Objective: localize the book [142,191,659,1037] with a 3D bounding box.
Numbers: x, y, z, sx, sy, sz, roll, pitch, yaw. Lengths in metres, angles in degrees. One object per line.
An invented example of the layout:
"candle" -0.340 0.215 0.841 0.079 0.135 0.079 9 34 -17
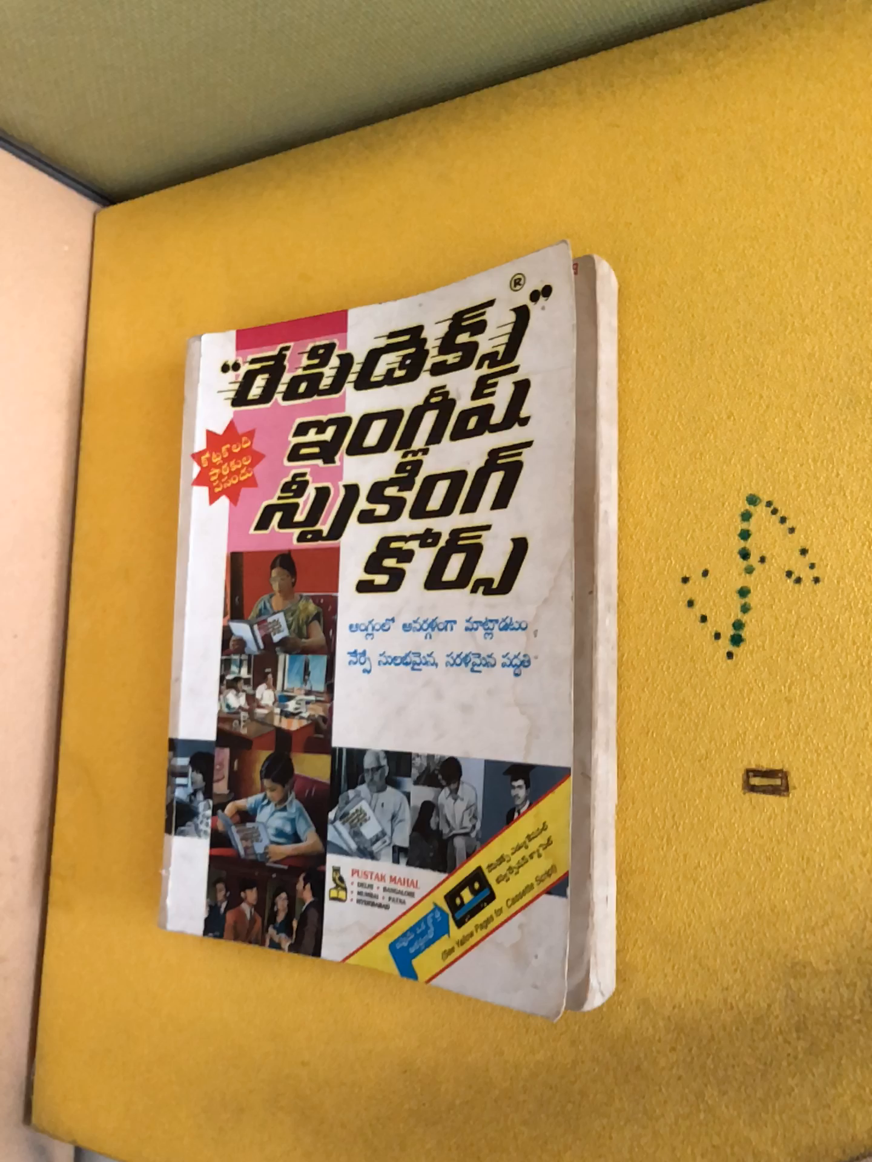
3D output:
"book" -0.019 0.008 0.346 0.190 0.030 0.250 -3 82 30
